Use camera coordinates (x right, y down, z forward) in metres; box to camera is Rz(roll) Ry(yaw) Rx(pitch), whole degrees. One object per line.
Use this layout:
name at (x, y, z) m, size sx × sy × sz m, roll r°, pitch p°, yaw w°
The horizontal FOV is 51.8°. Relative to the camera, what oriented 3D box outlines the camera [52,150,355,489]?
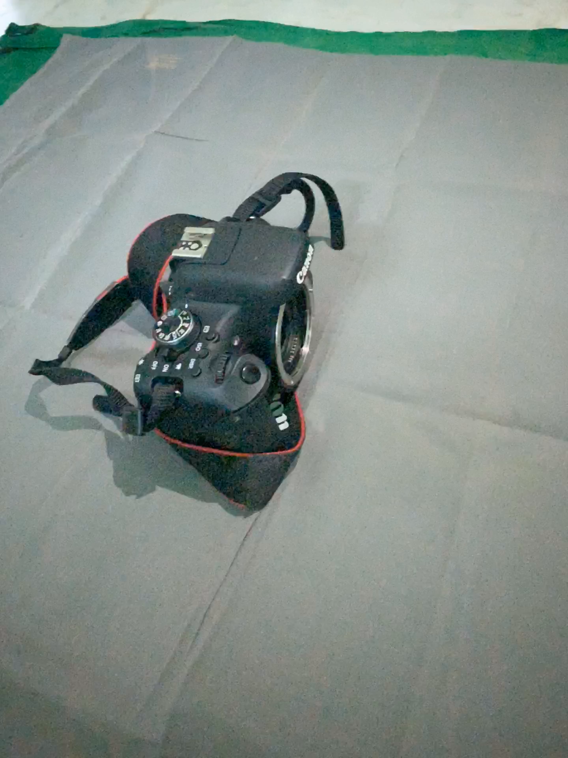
camera at (-0.025, -0.033, 0.294) m, size 0.090 × 0.088 × 0.133 m, roll 11°, pitch 56°, yaw 16°
